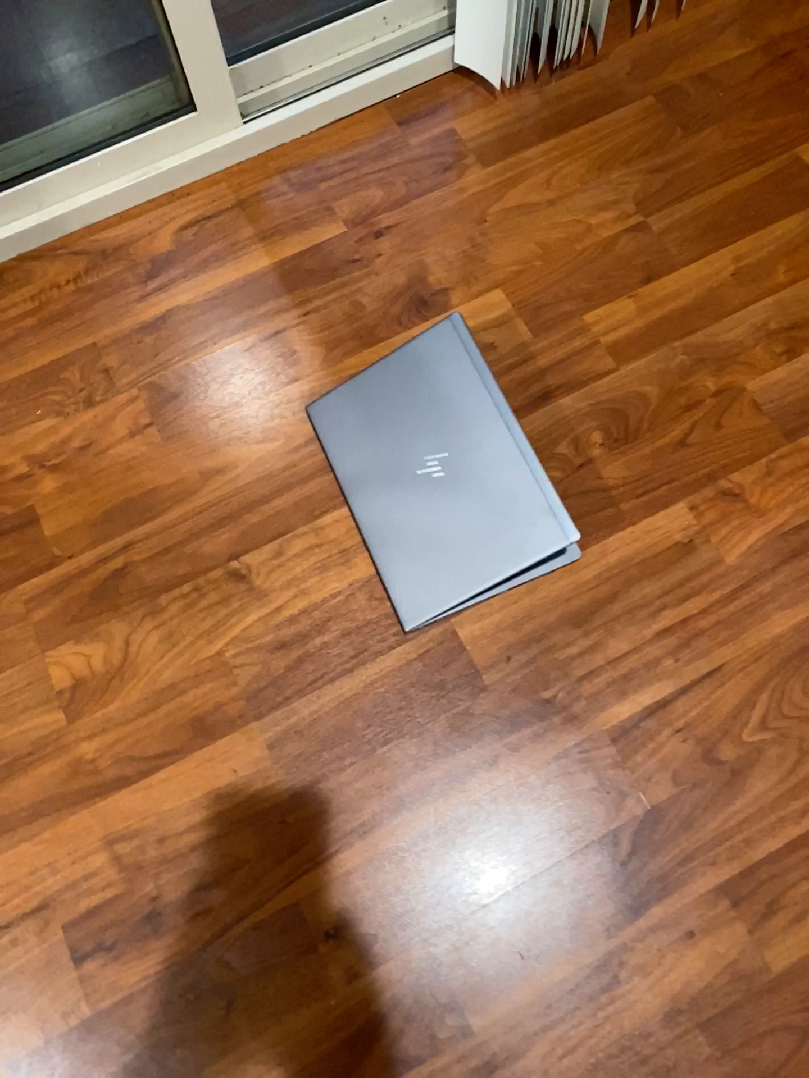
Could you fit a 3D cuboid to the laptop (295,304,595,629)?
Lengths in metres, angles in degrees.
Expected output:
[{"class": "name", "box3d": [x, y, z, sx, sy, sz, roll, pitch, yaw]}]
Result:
[{"class": "laptop", "box3d": [0.041, -0.093, 0.981, 0.230, 0.078, 0.325, -22, 72, -8]}]
